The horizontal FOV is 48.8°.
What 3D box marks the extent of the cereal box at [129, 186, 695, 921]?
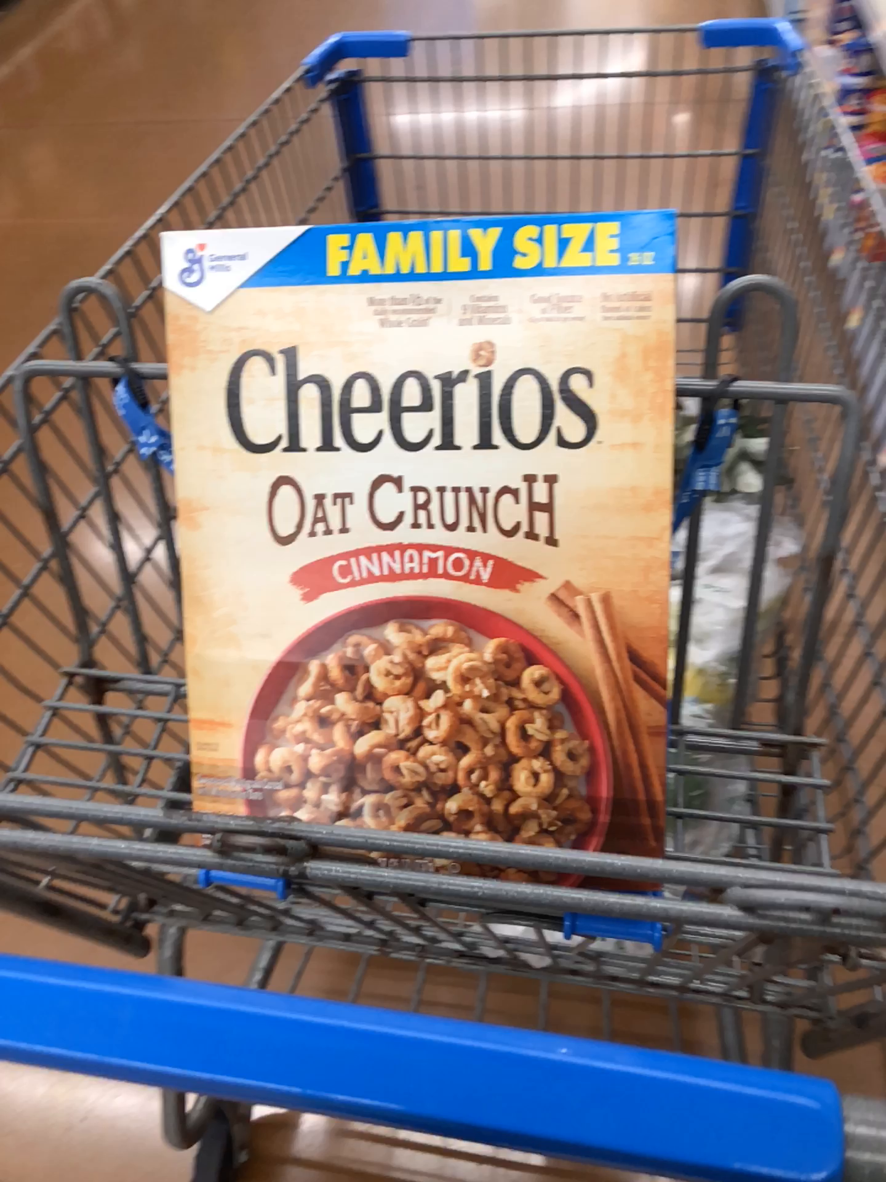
[{"bbox_3d":[-0.011,-0.015,0.491,0.250,0.330,0.080,1,9,8],"label":"cereal box"}]
